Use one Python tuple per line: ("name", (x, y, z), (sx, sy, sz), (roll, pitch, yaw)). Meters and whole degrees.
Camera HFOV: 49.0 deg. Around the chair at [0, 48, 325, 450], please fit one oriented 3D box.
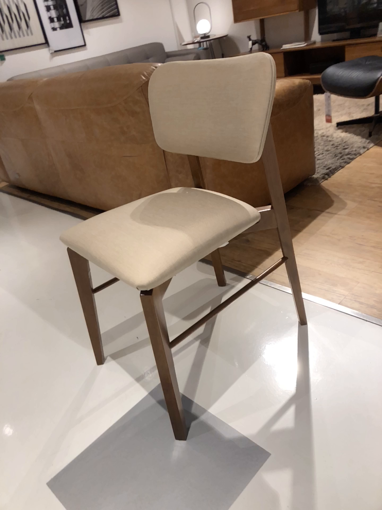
("chair", (-0.043, -0.068, 1.145), (0.592, 0.764, 0.512), (-30, 33, -29))
